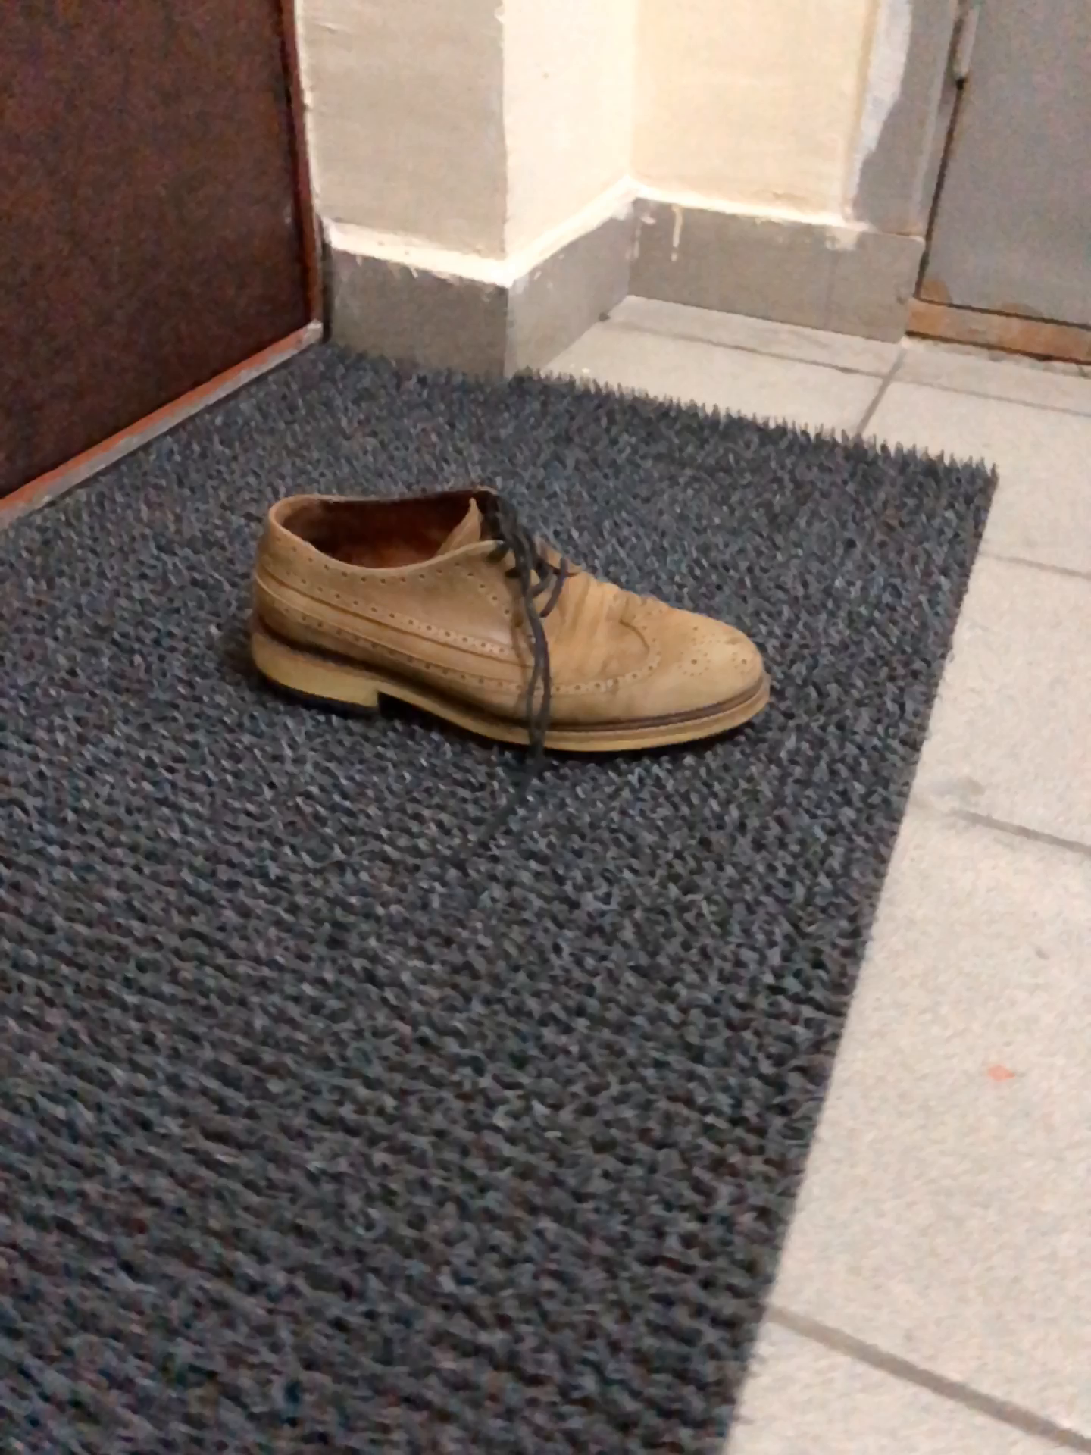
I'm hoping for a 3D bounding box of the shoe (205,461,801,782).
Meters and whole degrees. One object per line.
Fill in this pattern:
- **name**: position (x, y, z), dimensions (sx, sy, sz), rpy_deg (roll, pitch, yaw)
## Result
- **shoe**: position (-0.018, -0.063, 0.663), dimensions (0.300, 0.099, 0.111), rpy_deg (8, 37, 6)
